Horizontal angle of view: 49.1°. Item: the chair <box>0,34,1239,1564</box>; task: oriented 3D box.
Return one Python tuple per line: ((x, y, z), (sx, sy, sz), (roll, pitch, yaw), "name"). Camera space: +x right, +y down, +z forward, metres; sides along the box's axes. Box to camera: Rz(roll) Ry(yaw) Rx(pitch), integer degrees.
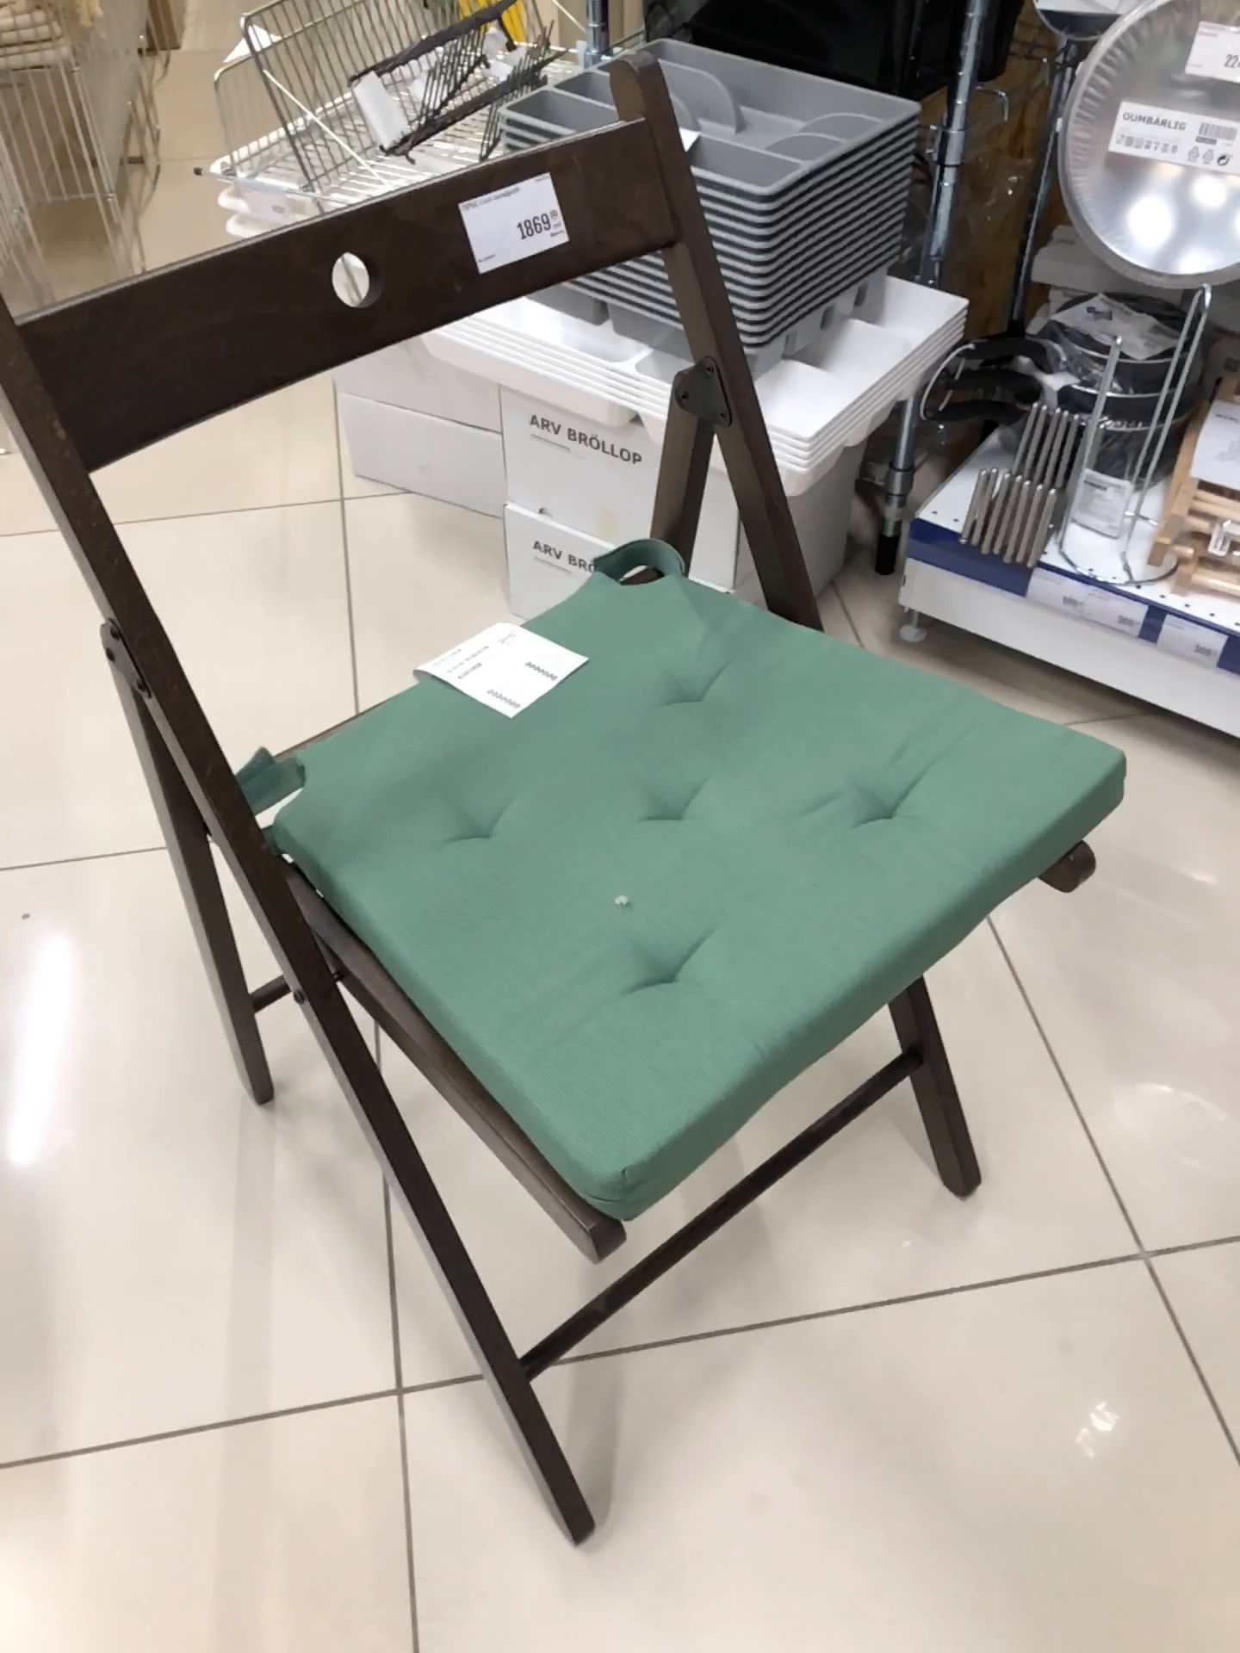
((-0.020, -0.002, 0.839), (0.441, 0.685, 0.482), (-32, 54, -26), "chair")
